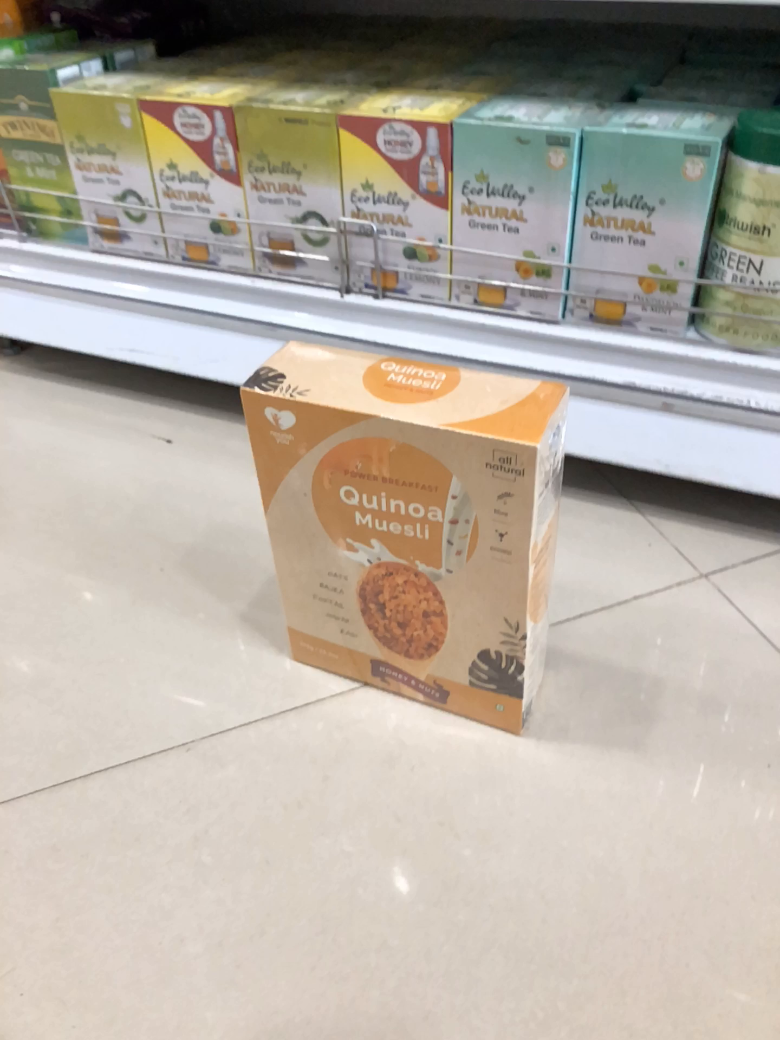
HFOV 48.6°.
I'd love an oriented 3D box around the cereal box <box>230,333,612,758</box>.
[{"bbox_3d":[0.018,0.016,0.467,0.170,0.199,0.060,15,42,23],"label":"cereal box"}]
